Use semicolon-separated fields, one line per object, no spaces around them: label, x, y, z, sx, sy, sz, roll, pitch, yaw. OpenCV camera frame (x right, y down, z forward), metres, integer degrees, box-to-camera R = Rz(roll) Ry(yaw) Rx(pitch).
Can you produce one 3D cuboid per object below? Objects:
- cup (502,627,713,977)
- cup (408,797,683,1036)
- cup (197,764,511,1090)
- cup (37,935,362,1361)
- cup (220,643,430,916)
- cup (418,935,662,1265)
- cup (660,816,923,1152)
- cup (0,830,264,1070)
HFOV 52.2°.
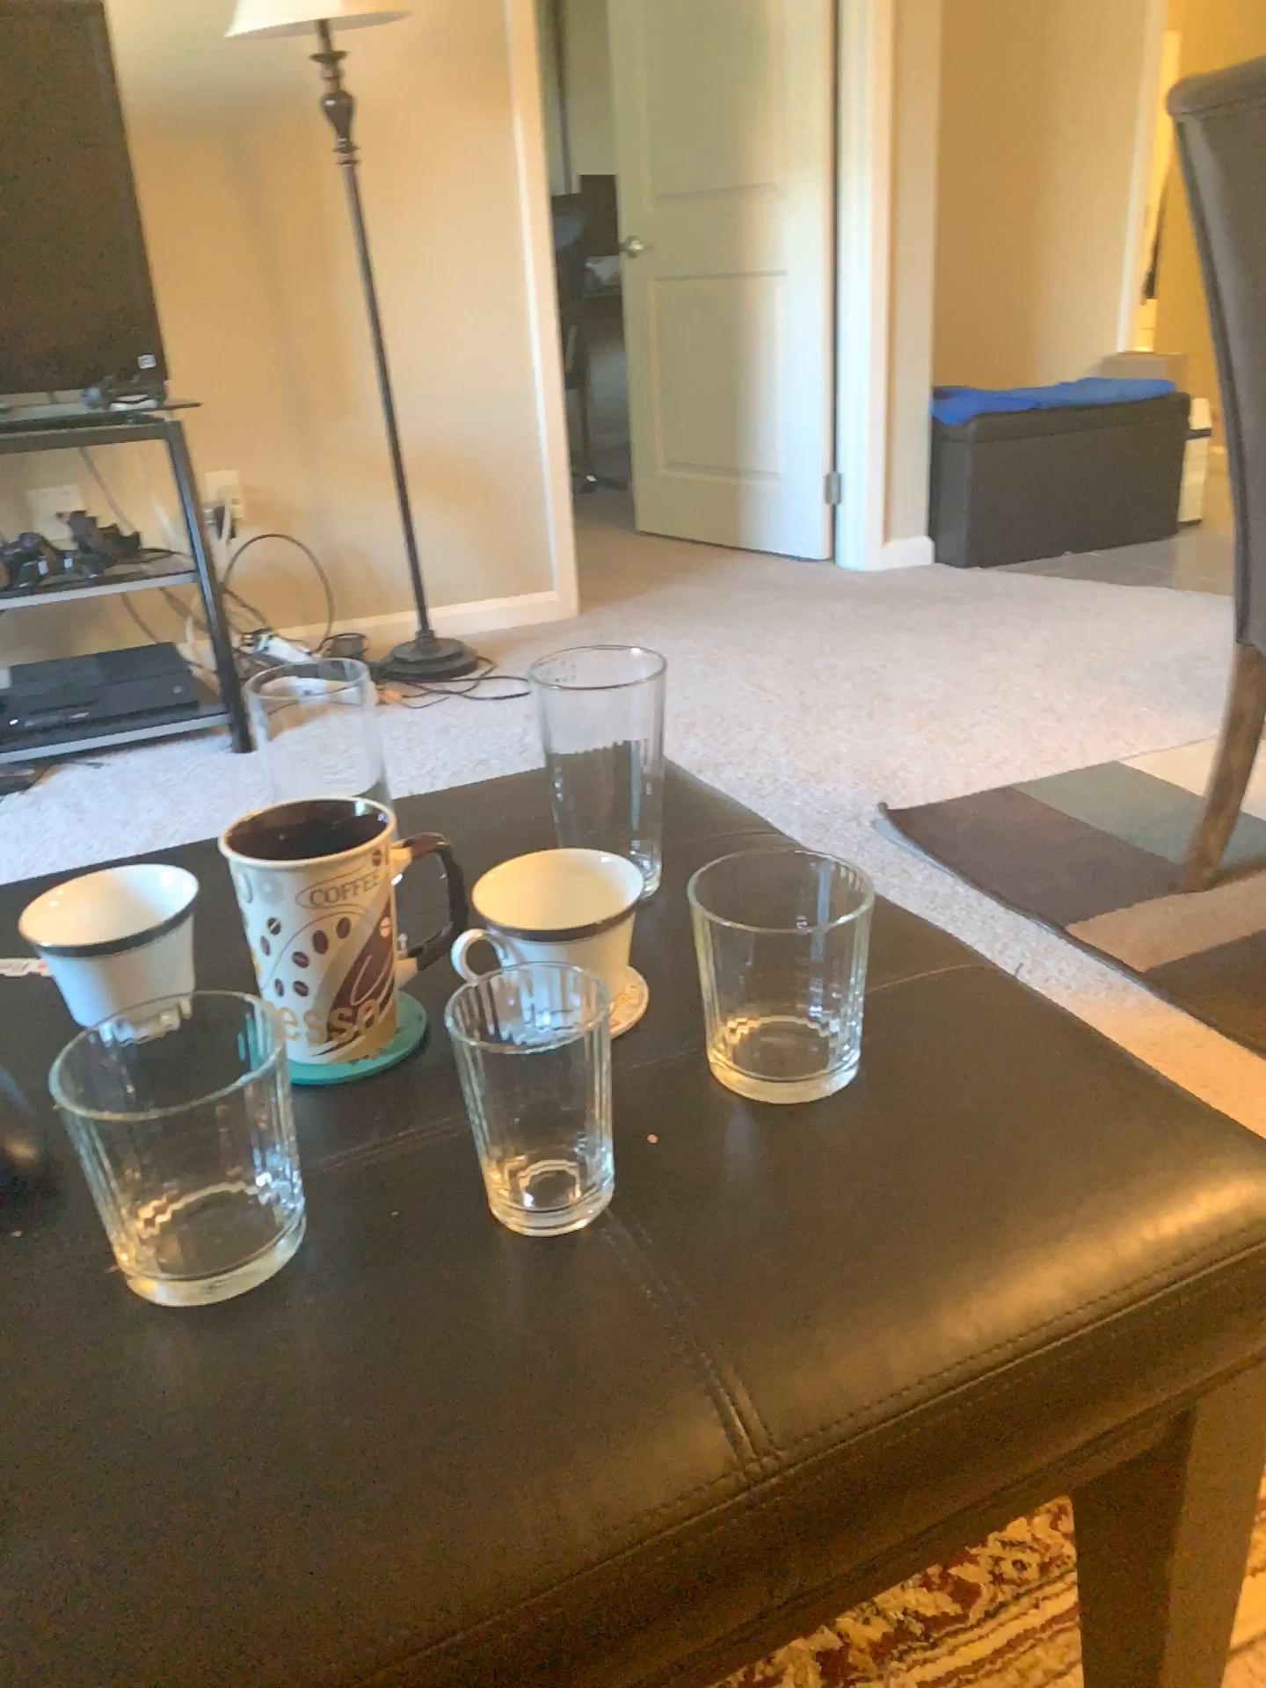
cup;-0.015;-0.029;0.827;0.090;0.189;0.090;-3;23;1
cup;-0.046;0.034;0.688;0.110;0.070;0.090;-18;27;-30
cup;-0.148;0.040;0.693;0.130;0.119;0.091;-14;26;-23
cup;-0.179;0.120;0.536;0.090;0.119;0.091;-3;23;1
cup;-0.198;-0.045;0.837;0.090;0.139;0.091;-3;23;1
cup;-0.039;0.107;0.556;0.070;0.099;0.070;-3;23;1
cup;0.078;0.066;0.648;0.090;0.119;0.091;-3;23;1
cup;-0.282;0.054;0.711;0.110;0.080;0.090;10;27;29
